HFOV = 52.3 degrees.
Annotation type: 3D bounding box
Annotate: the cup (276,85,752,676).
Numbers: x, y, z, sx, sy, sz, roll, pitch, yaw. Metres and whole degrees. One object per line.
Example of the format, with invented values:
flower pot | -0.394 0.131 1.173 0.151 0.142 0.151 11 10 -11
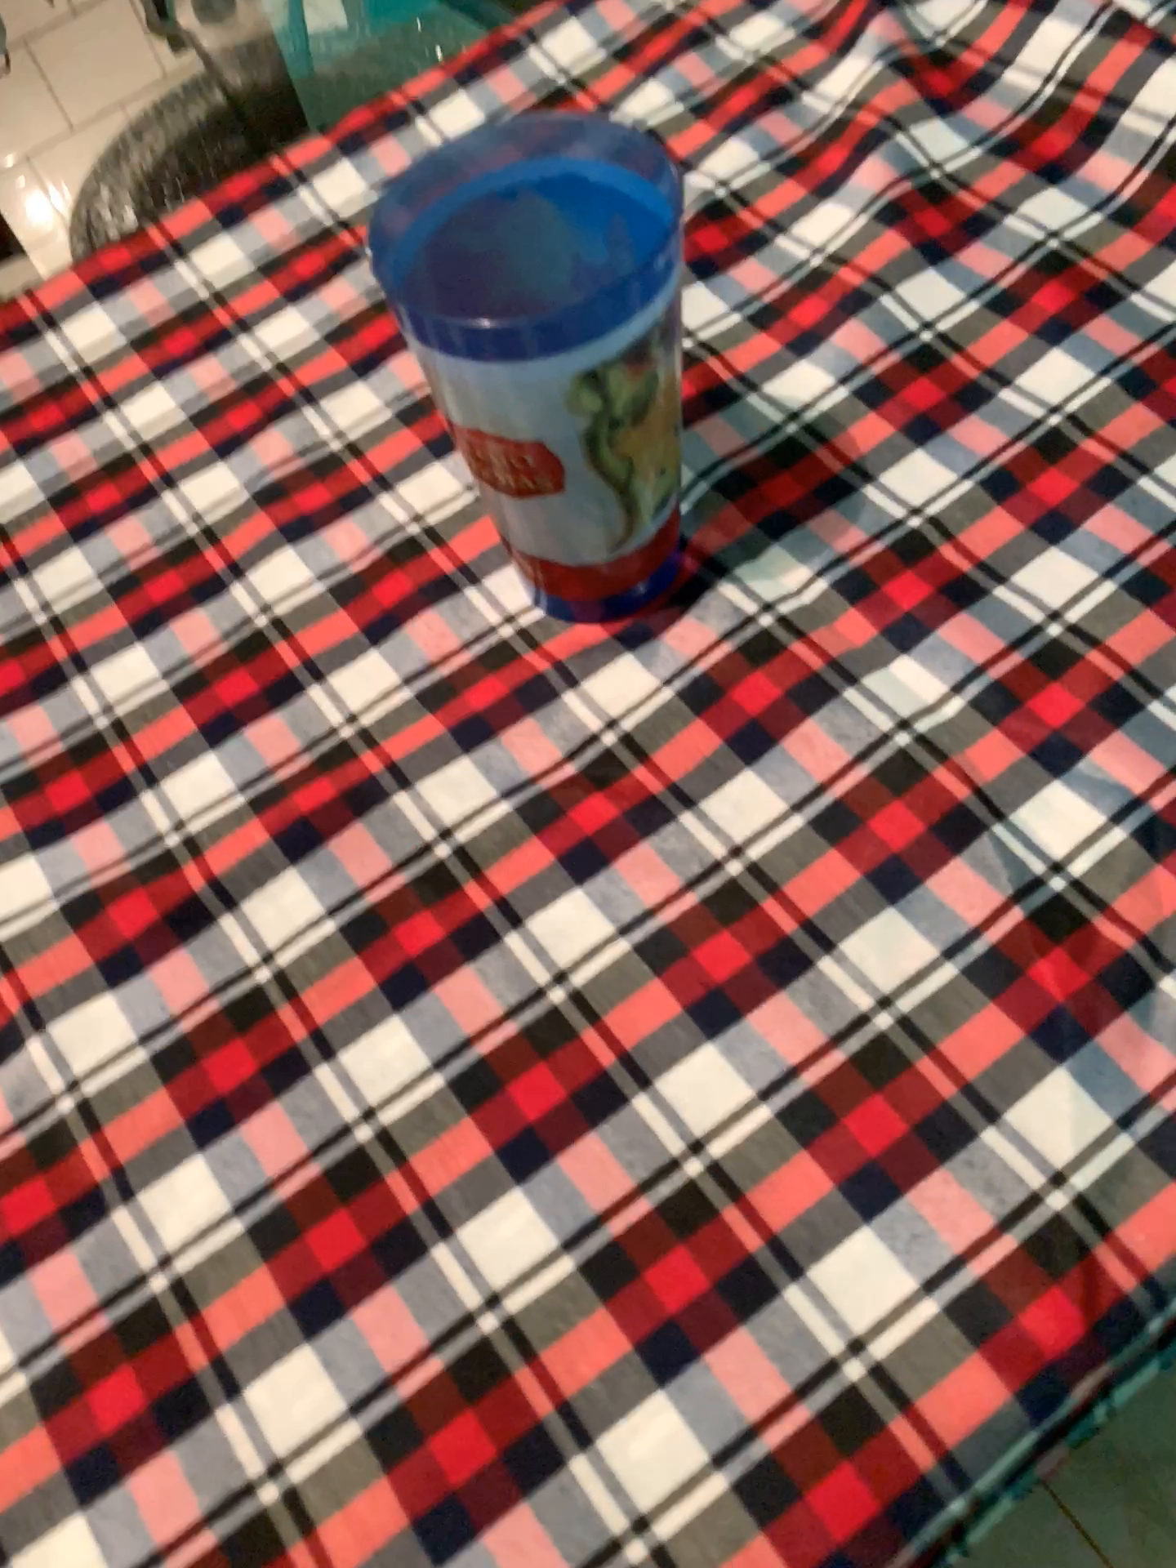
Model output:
cup | -0.014 -0.123 0.381 0.090 0.130 0.090 -5 60 8
